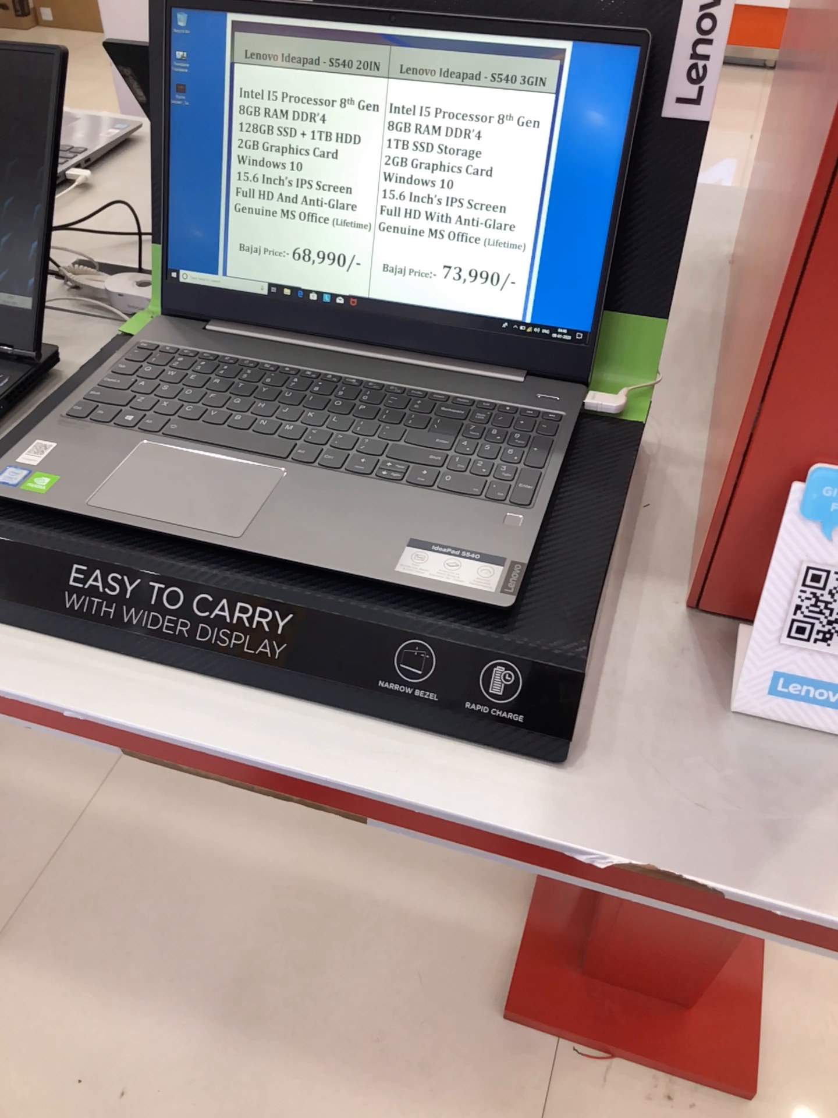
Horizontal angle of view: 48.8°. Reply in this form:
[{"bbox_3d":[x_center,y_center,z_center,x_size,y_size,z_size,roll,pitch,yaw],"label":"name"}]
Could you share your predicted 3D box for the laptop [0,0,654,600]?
[{"bbox_3d":[-0.063,-0.188,0.577,0.335,0.194,0.326,12,45,12],"label":"laptop"}]
